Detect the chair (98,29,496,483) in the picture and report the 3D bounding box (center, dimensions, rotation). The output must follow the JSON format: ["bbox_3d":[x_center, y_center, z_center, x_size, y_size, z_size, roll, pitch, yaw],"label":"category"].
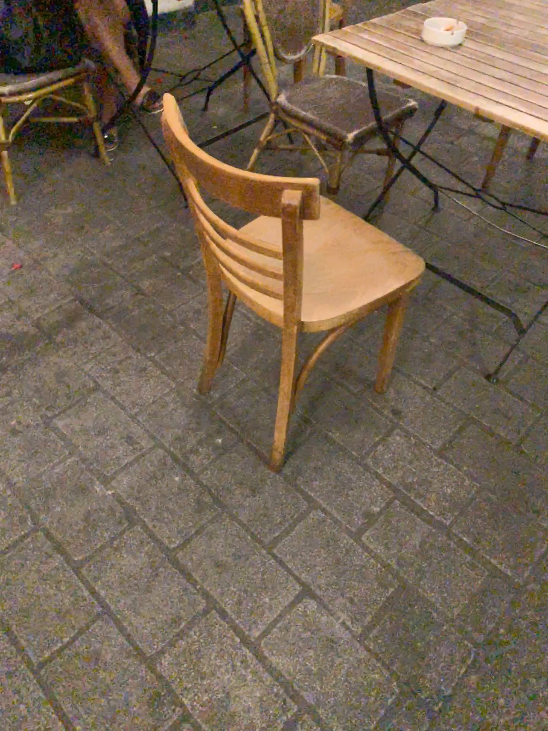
[{"bbox_3d":[0.040,-0.248,1.315,0.542,0.762,0.513,-34,56,-27],"label":"chair"}]
